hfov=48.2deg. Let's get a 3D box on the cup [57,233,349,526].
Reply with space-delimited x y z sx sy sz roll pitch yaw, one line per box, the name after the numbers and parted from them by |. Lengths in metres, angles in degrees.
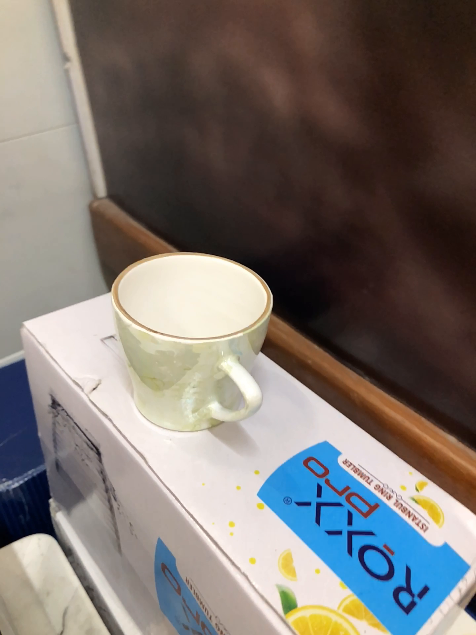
-0.018 0.019 0.234 0.070 0.060 0.100 -27 47 -36 | cup
